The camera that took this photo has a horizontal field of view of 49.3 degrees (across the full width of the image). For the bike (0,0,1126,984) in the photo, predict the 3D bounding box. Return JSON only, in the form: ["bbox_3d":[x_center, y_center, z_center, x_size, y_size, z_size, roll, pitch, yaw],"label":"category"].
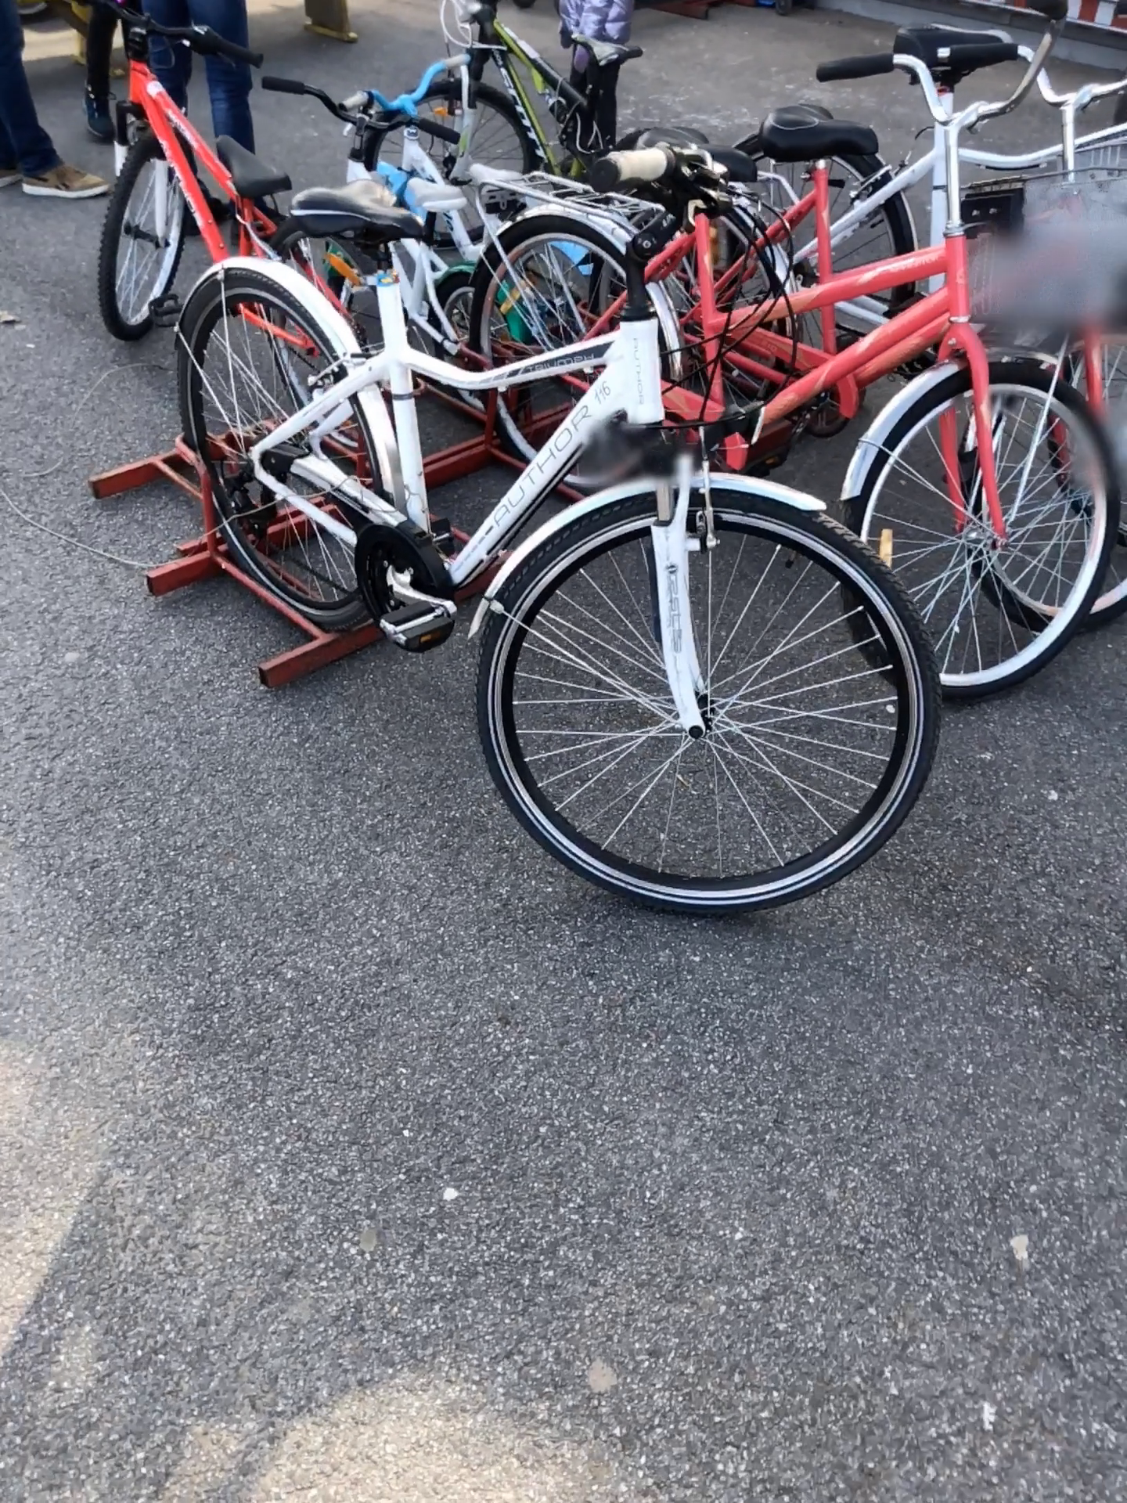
[{"bbox_3d":[-0.091,-0.558,2.065,1.701,1.112,0.646,27,48,28],"label":"bike"}]
